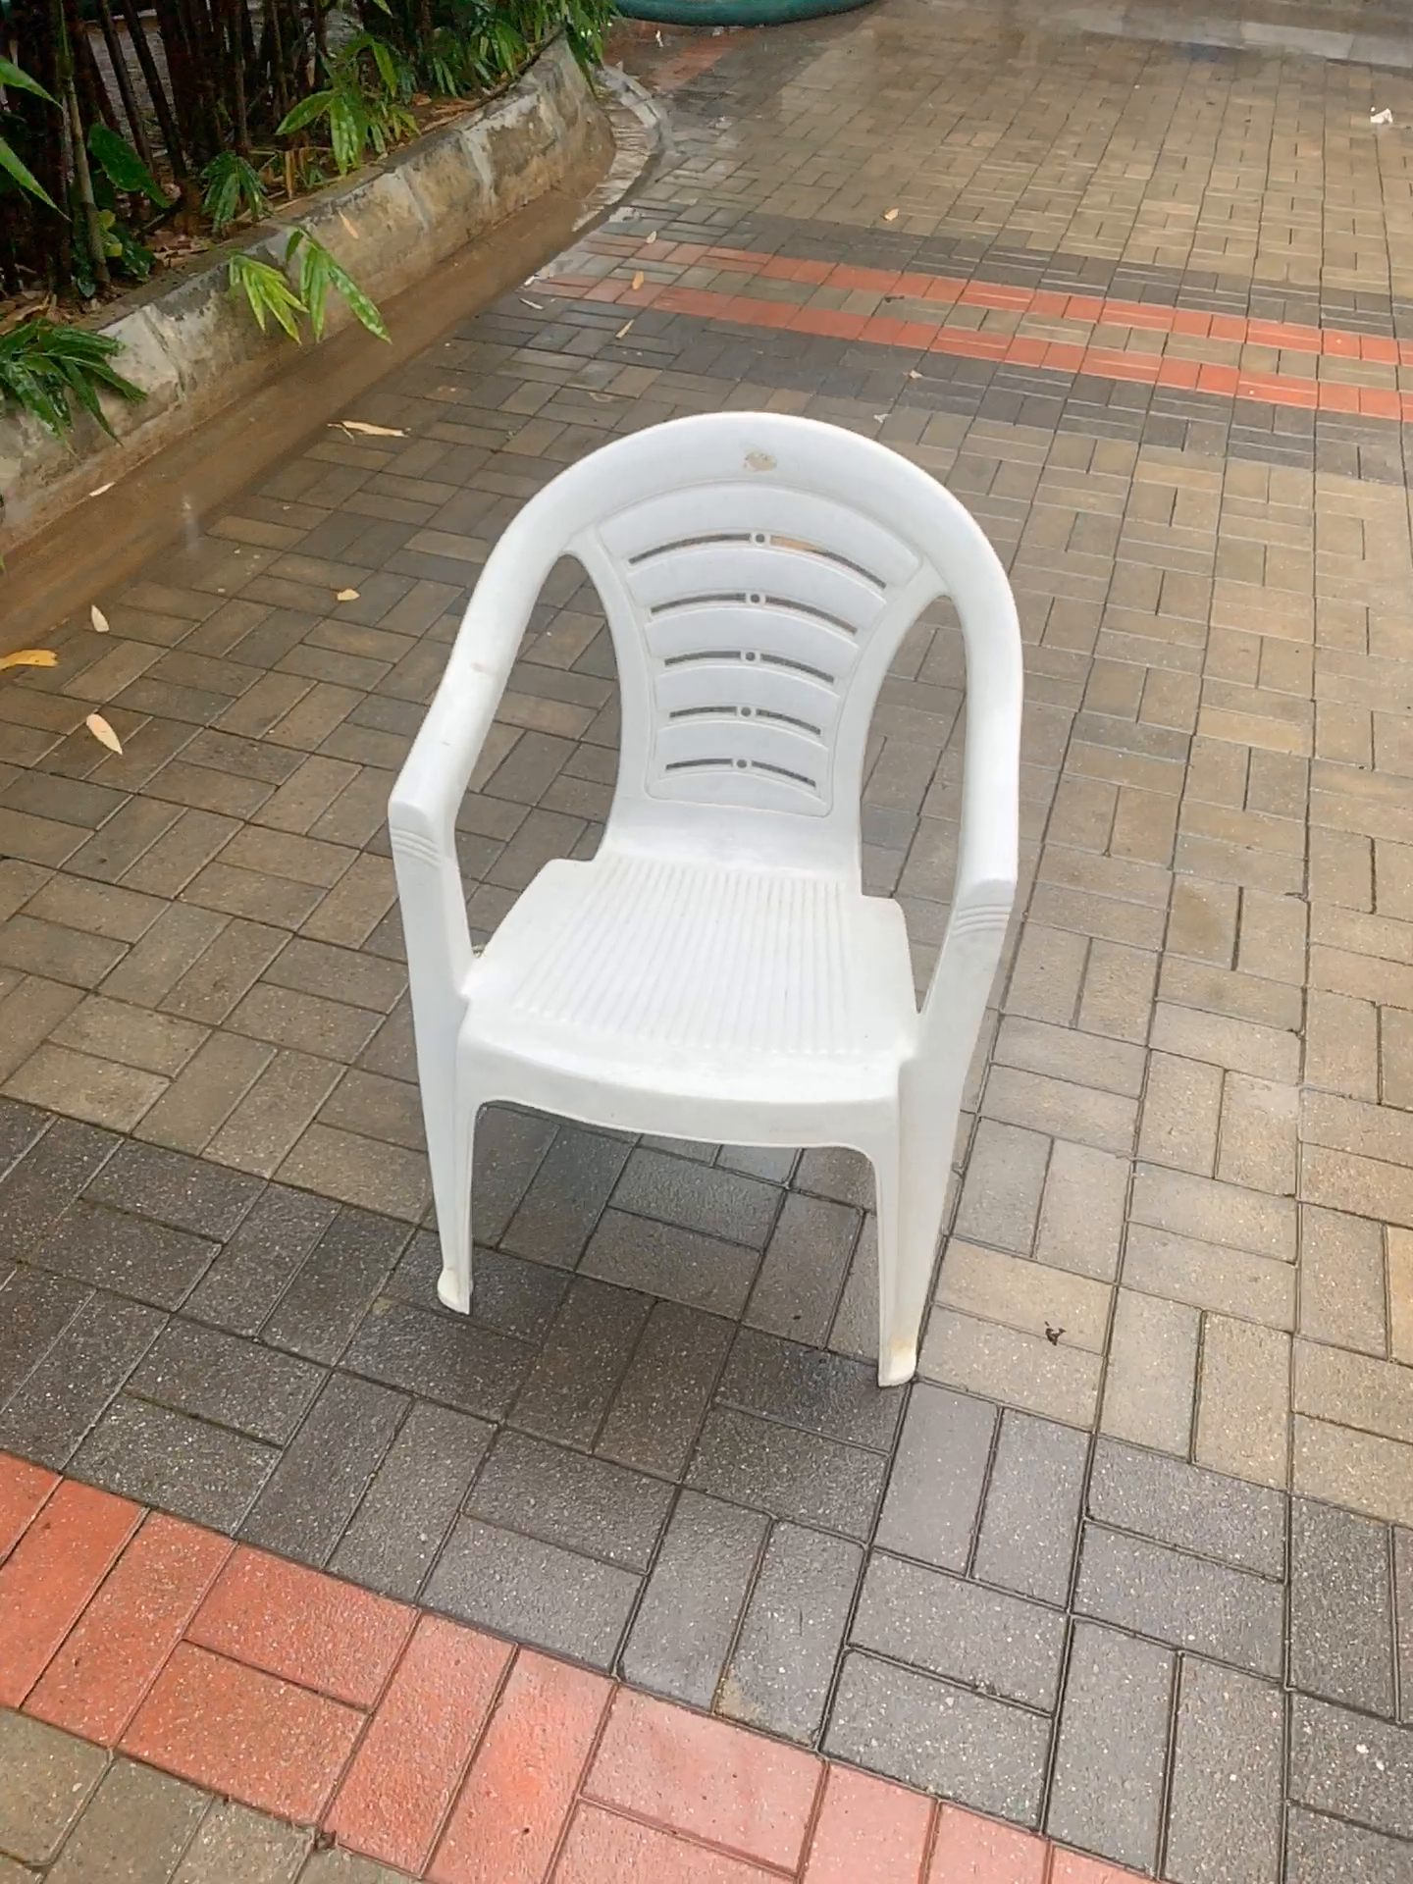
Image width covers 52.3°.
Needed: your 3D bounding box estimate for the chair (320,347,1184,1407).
[{"bbox_3d":[0.046,-0.054,1.396,0.560,0.777,0.572,7,42,4],"label":"chair"}]
